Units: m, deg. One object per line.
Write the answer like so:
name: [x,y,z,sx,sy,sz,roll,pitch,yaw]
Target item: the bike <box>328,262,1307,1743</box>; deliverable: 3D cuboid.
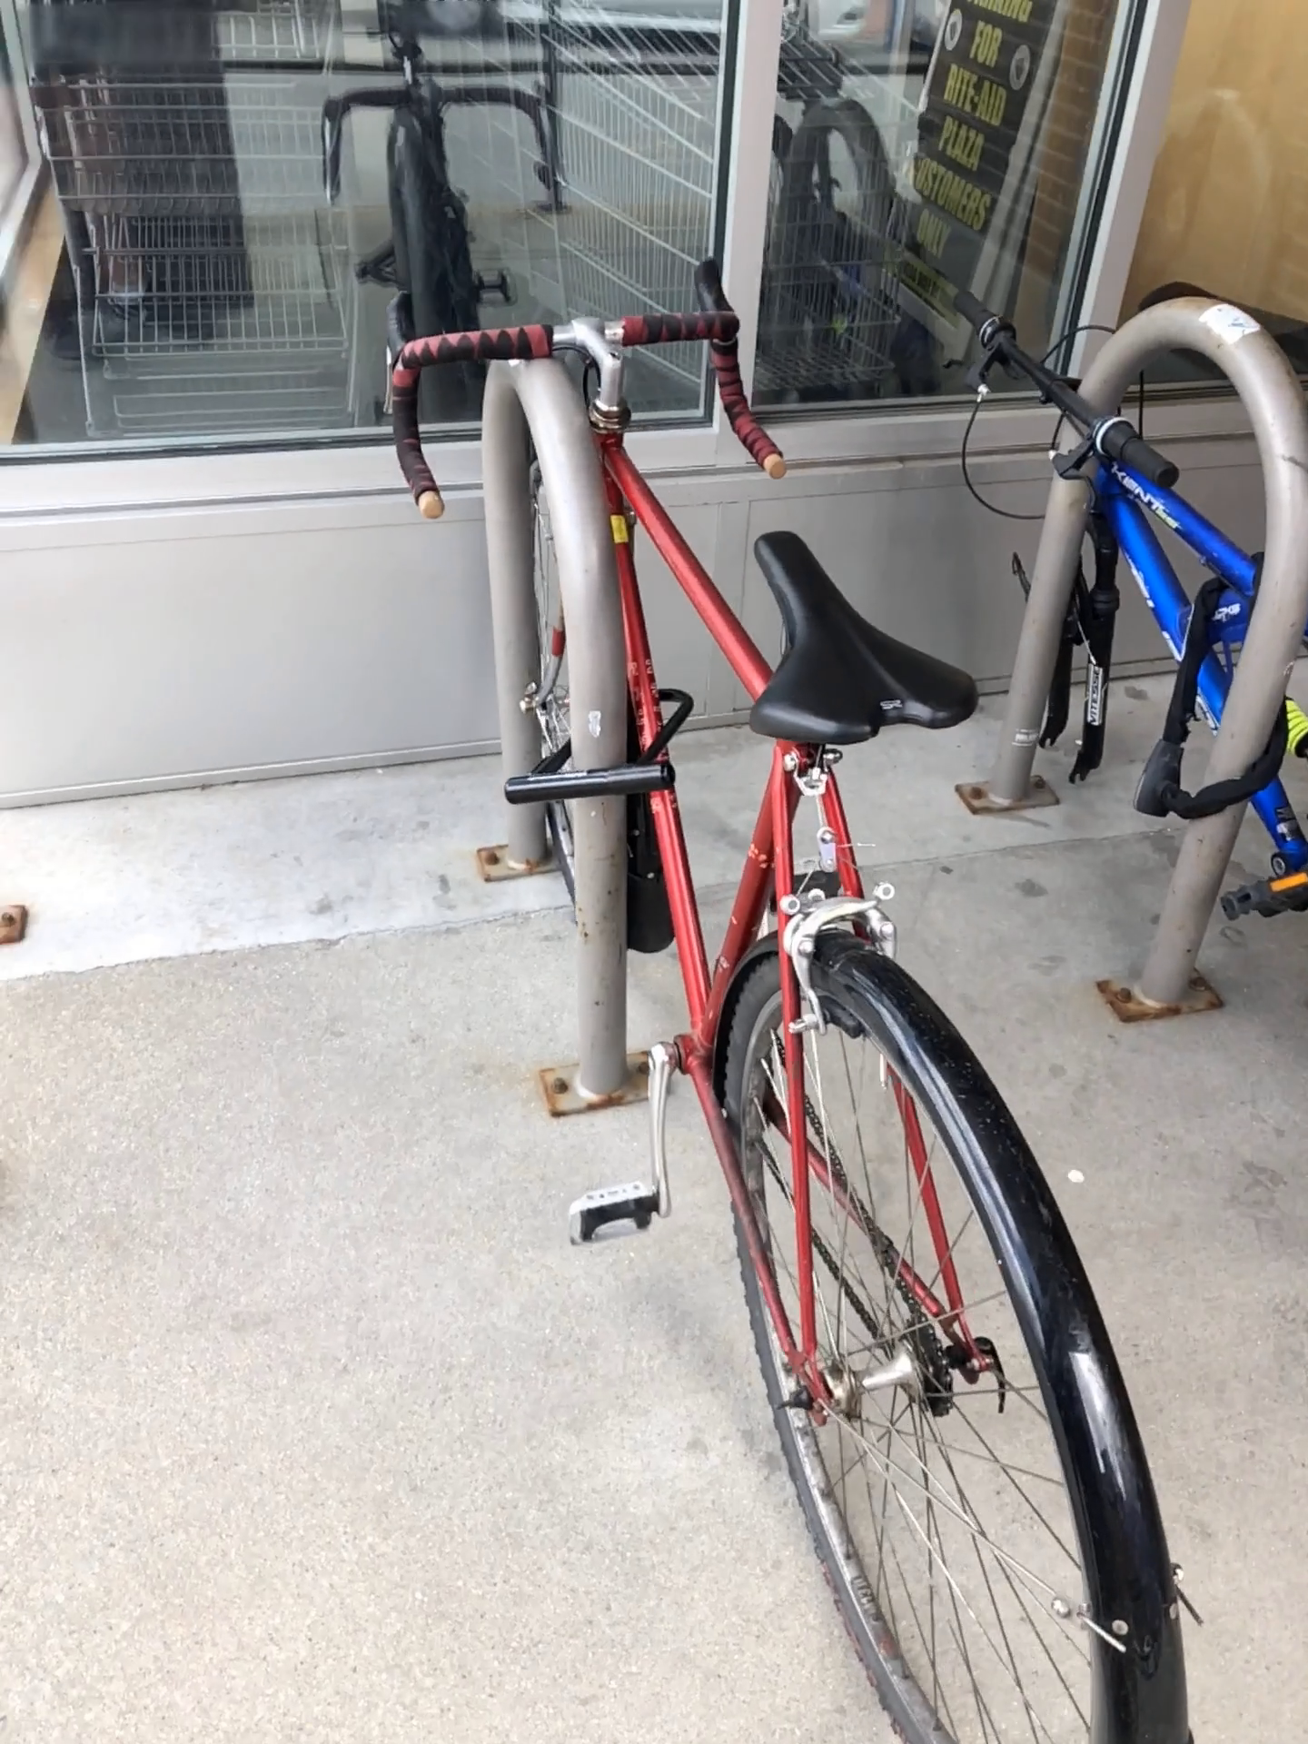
bike: [0.029,0.062,1.498,0.458,0.787,1.698,-9,42,-14]
